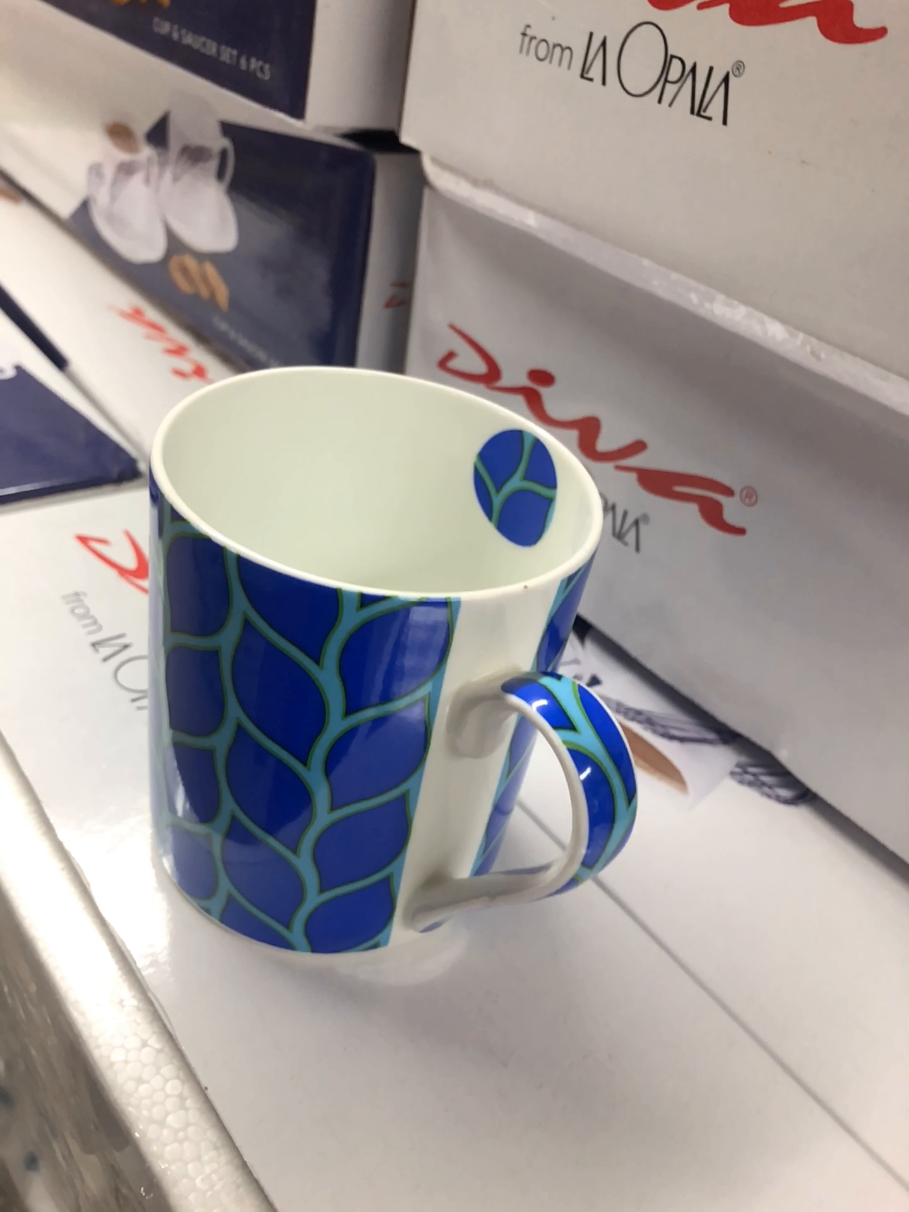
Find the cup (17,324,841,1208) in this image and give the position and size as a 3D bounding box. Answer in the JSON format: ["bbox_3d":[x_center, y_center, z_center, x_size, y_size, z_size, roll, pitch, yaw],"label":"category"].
[{"bbox_3d":[-0.015,0.016,0.195,0.080,0.089,0.120,-20,46,-37],"label":"cup"}]
